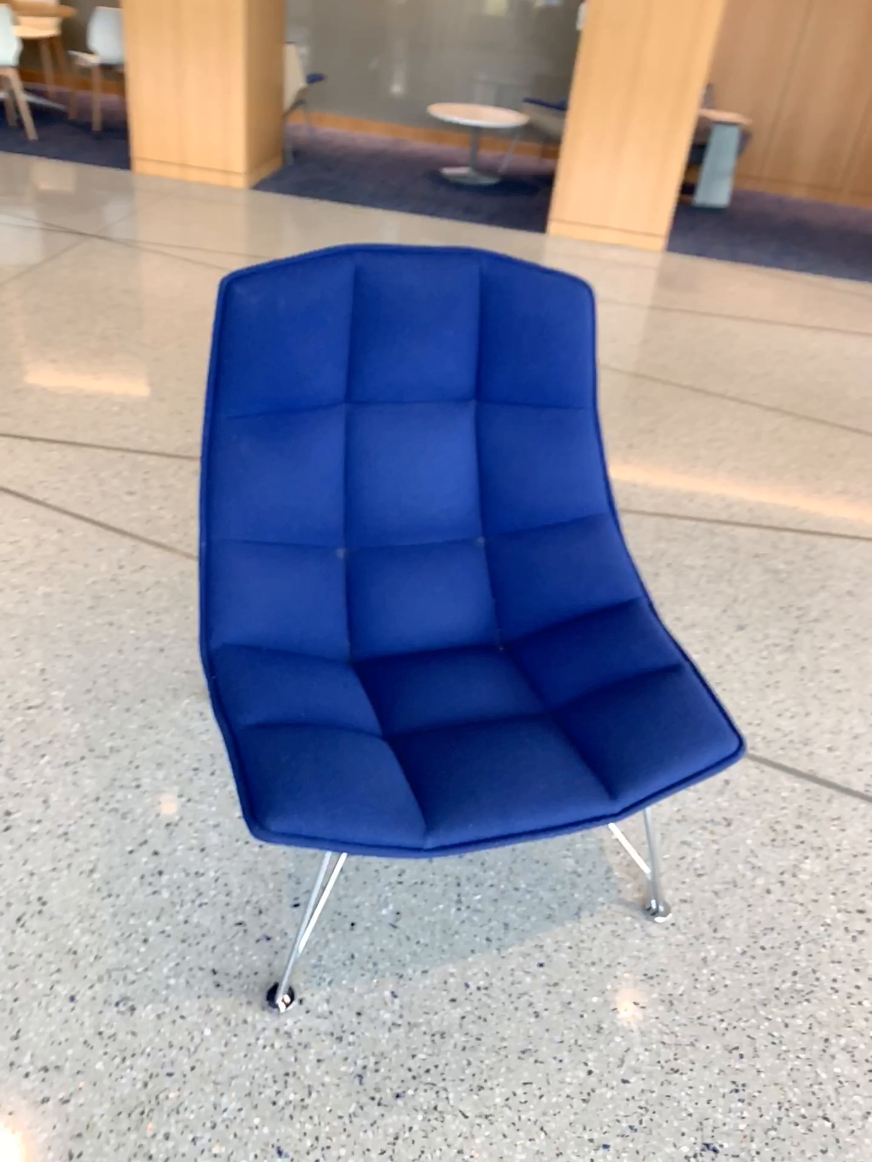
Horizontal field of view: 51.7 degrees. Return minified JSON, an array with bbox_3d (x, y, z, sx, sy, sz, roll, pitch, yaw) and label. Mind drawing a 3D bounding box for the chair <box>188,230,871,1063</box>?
[{"bbox_3d":[0.053,0.042,1.498,0.799,0.962,0.835,-5,36,-18],"label":"chair"}]
